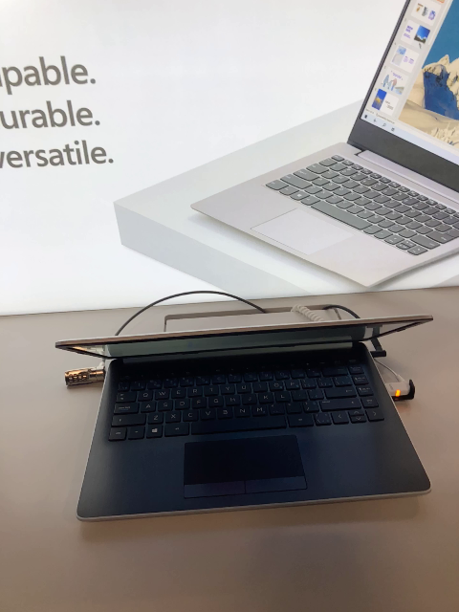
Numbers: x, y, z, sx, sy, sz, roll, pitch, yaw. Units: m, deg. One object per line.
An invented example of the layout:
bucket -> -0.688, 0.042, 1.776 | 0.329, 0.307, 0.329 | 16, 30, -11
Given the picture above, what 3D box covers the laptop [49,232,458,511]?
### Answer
laptop -> 0.018, 0.049, 0.500 | 0.302, 0.155, 0.226 | -4, 30, -1
